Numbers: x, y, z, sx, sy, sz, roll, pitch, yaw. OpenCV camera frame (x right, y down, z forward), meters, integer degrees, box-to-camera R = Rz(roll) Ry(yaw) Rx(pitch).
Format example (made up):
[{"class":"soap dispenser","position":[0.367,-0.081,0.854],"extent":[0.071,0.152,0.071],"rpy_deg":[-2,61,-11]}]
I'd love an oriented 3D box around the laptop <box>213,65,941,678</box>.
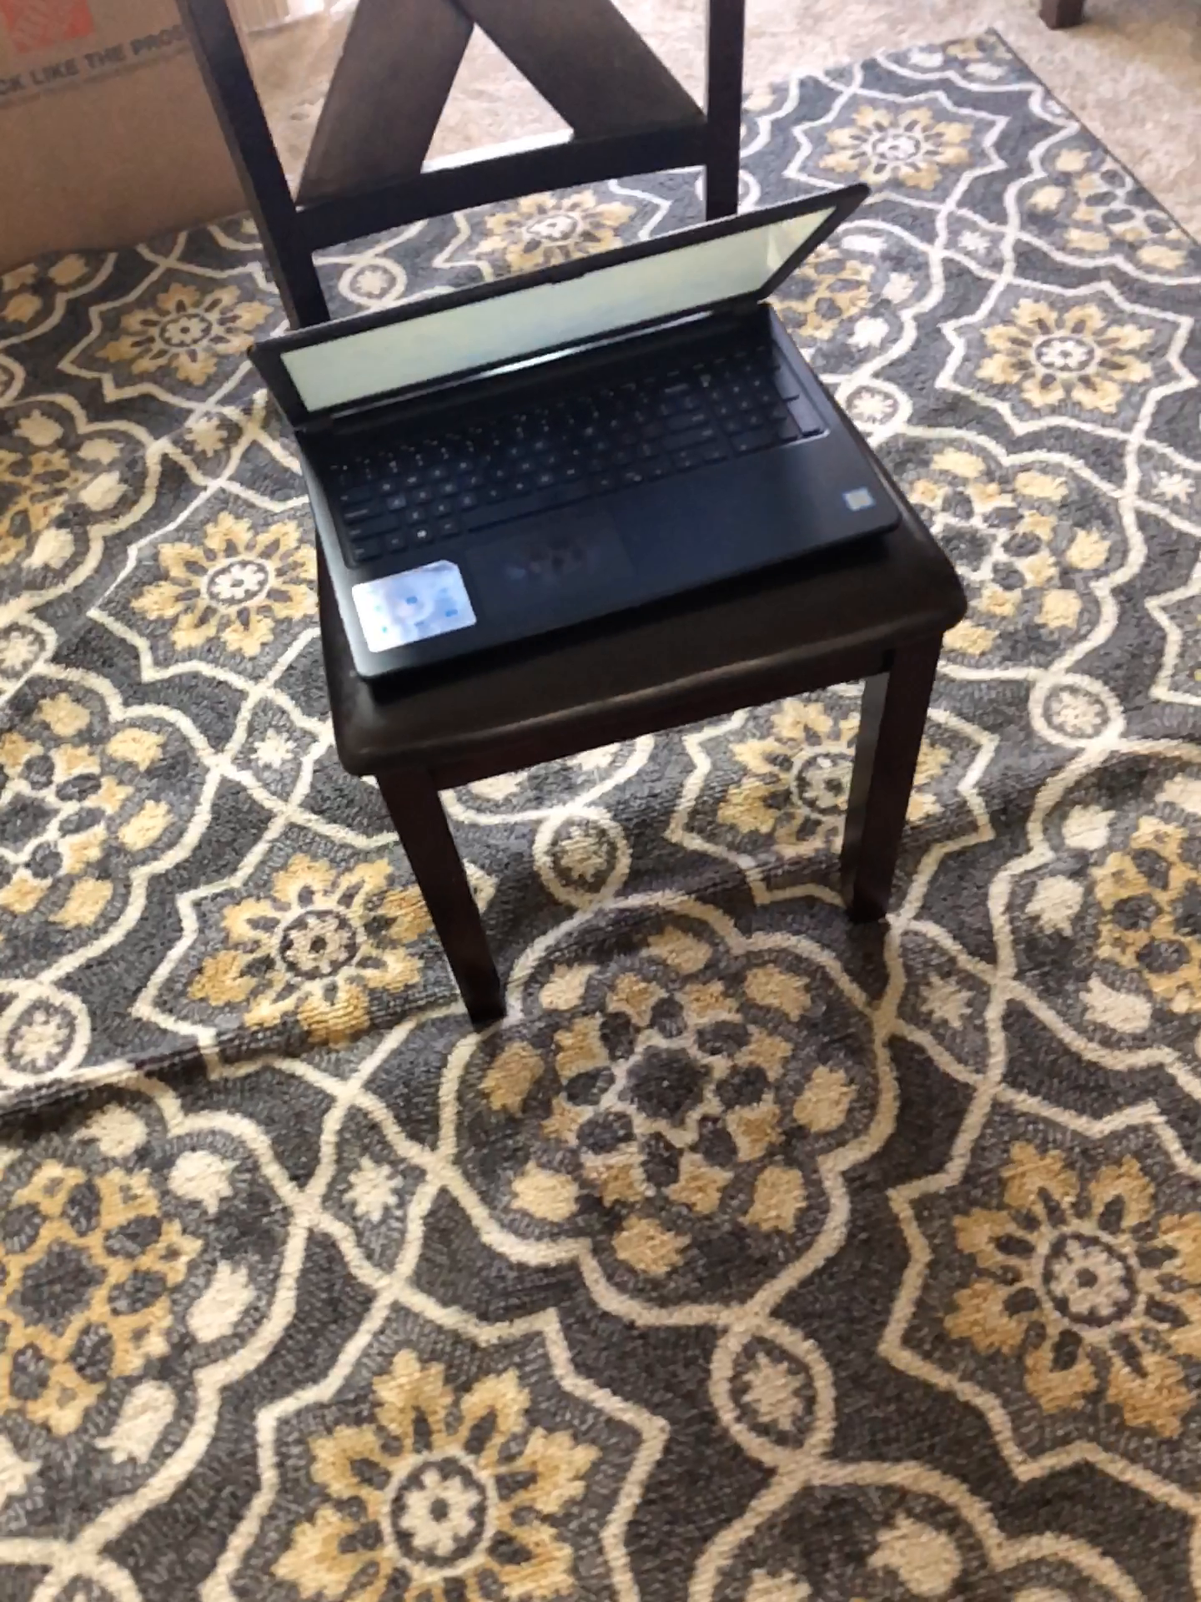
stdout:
[{"class":"laptop","position":[-0.020,-0.278,0.839],"extent":[0.366,0.186,0.245],"rpy_deg":[-17,56,-8]}]
